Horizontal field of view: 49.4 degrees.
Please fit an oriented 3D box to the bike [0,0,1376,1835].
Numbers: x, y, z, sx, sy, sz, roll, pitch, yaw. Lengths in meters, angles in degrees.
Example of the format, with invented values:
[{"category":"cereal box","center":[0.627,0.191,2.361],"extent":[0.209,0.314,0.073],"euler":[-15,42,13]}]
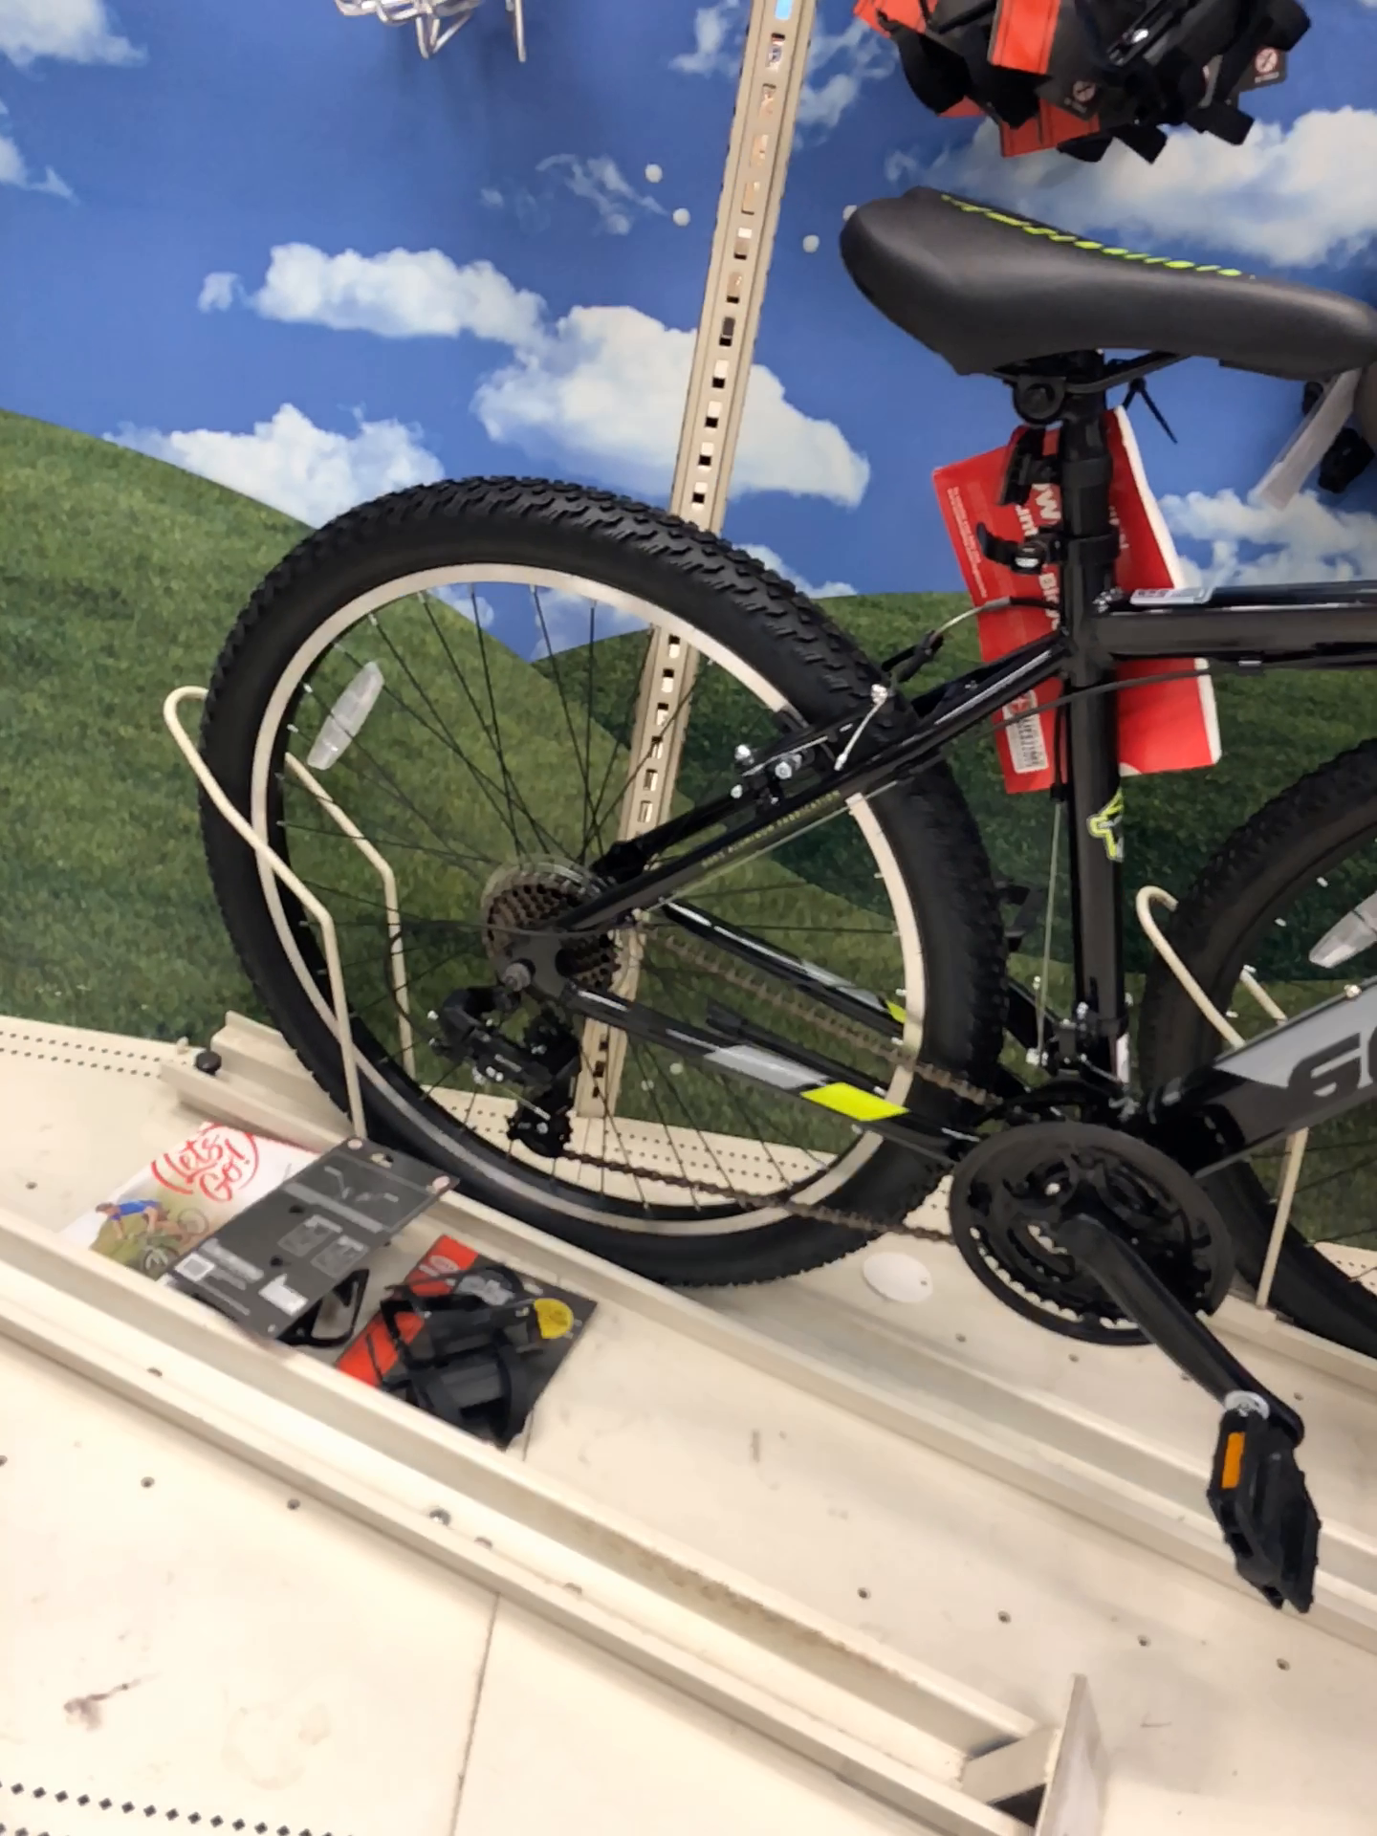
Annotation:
[{"category":"bike","center":[0.338,0.109,0.795],"extent":[1.652,1.002,0.601],"euler":[23,29,18]}]
